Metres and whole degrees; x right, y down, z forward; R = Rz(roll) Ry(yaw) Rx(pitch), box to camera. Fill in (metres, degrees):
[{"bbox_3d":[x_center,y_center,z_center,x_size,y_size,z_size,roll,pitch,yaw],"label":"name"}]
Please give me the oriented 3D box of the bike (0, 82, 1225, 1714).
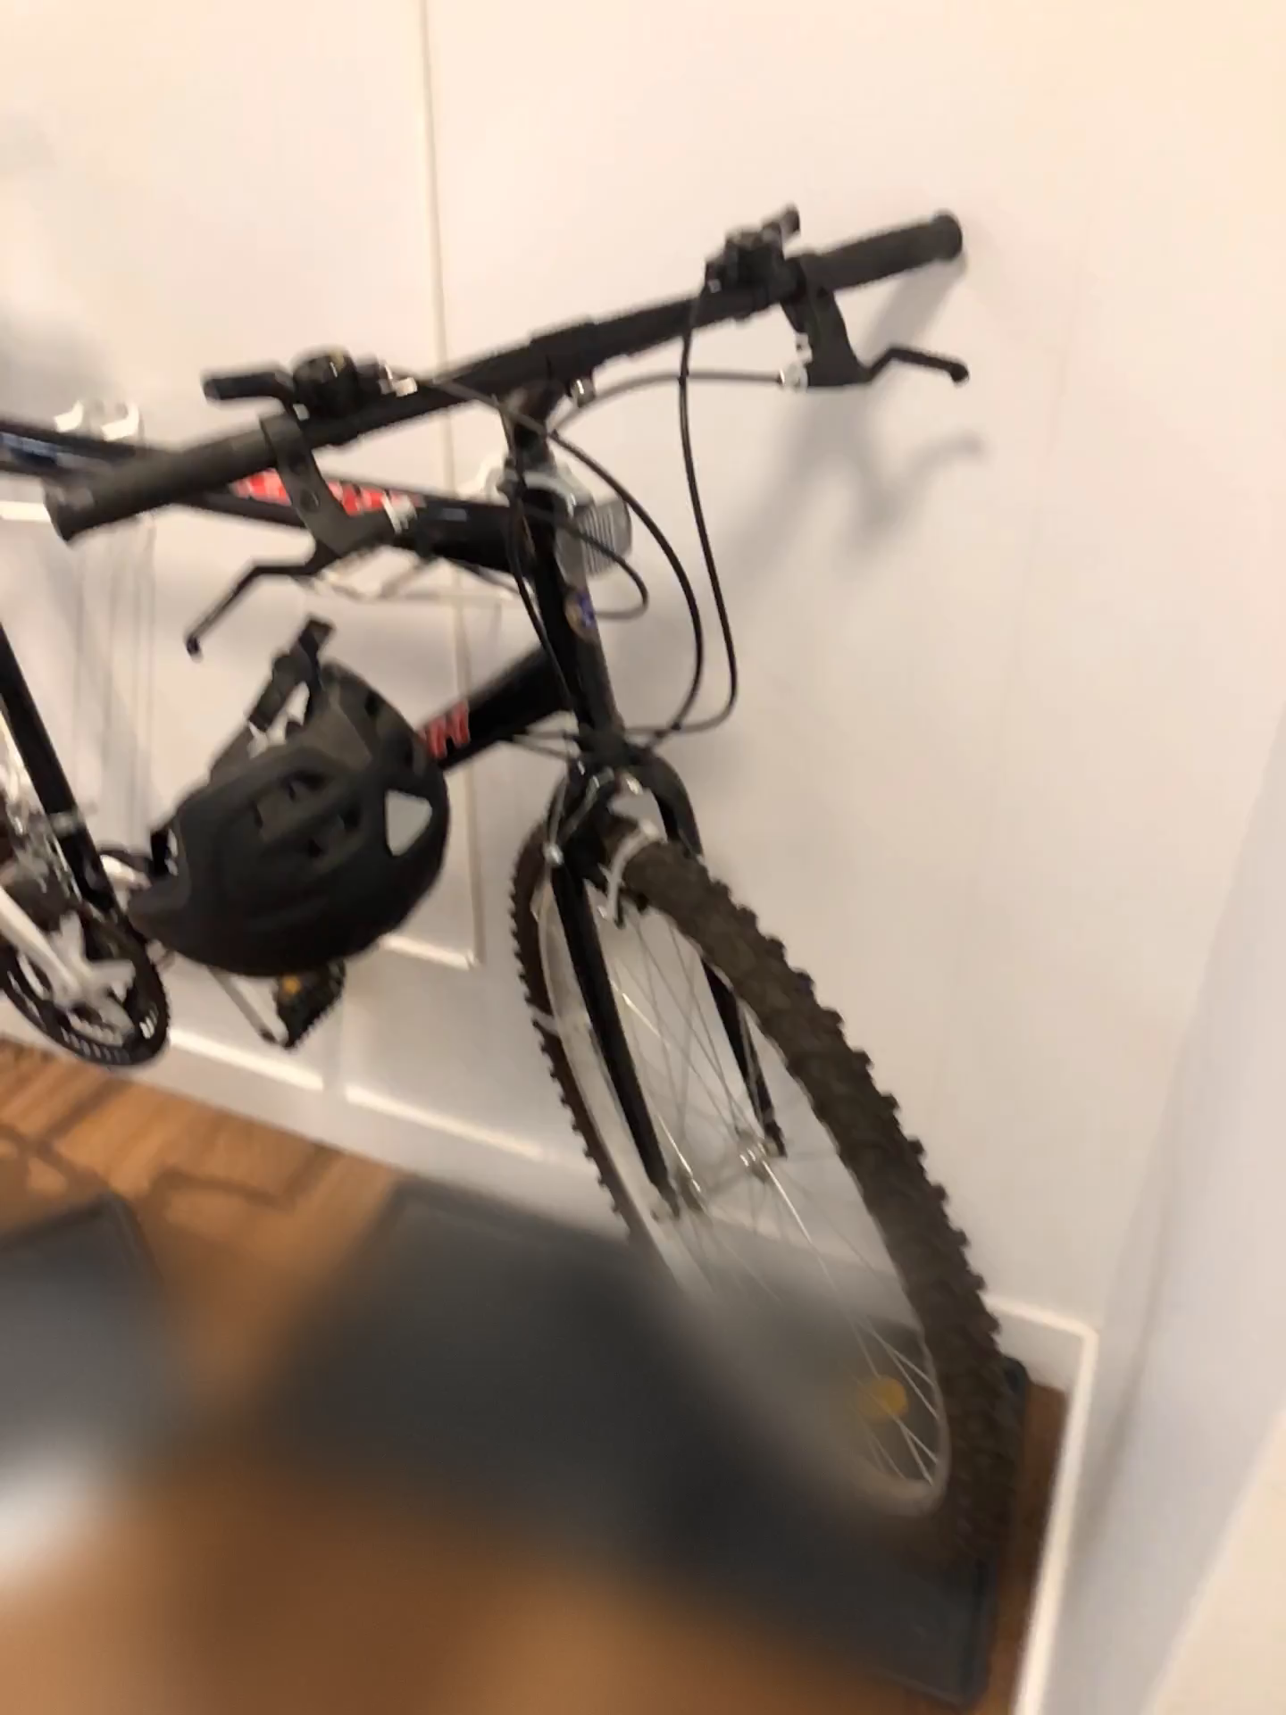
[{"bbox_3d":[-0.441,0.018,1.175,1.569,0.845,0.560,23,39,20],"label":"bike"}]
